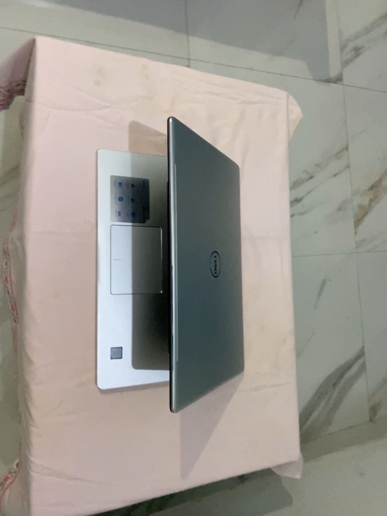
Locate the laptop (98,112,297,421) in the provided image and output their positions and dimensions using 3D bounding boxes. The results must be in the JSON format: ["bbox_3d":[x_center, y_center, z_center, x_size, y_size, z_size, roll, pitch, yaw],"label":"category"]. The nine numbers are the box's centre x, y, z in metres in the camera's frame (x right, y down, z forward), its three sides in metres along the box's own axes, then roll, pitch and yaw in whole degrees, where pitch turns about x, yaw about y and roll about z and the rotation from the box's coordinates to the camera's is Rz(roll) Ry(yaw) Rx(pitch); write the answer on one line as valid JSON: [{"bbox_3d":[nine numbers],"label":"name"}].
[{"bbox_3d":[-0.001,0.012,0.559,0.235,0.149,0.347,0,87,-25],"label":"laptop"}]
